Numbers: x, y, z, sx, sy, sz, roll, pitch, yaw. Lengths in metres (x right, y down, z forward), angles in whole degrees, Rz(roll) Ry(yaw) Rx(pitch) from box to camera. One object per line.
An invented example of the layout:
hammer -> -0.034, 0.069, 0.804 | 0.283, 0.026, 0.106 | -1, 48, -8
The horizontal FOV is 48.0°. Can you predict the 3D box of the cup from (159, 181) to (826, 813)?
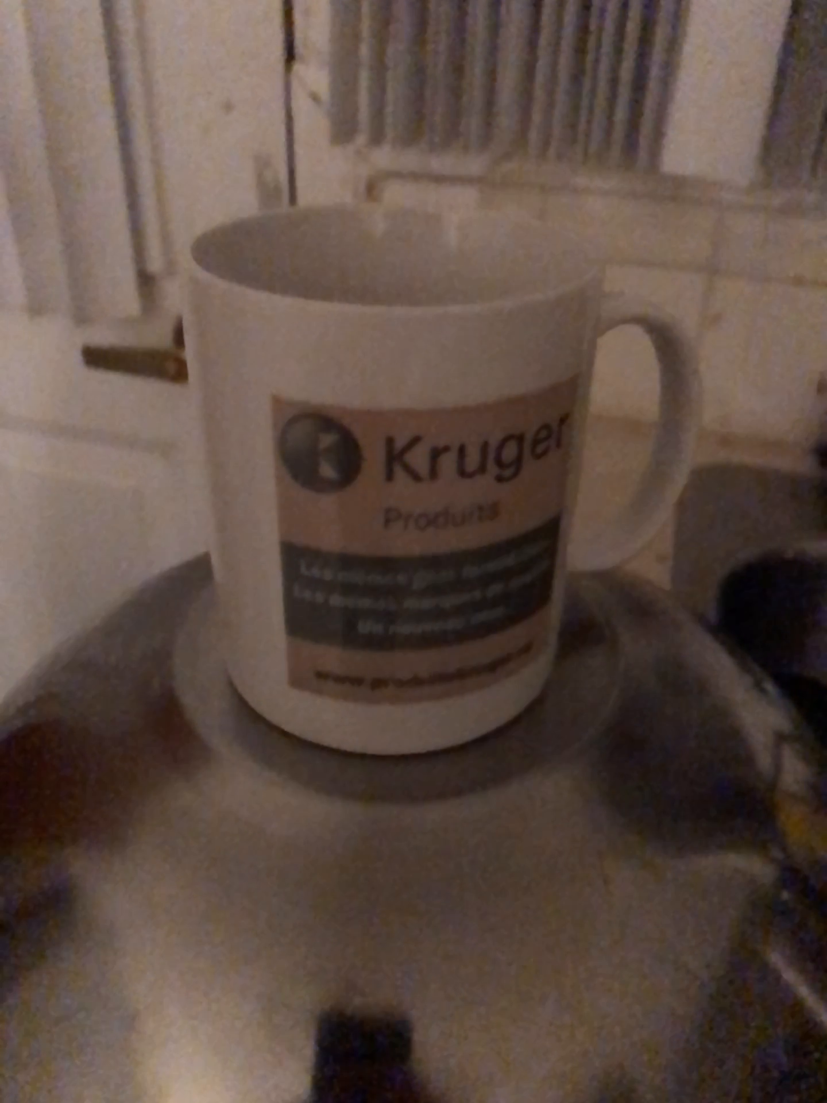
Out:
cup -> 0.008, -0.021, 0.221 | 0.120, 0.109, 0.091 | -6, 33, -13
